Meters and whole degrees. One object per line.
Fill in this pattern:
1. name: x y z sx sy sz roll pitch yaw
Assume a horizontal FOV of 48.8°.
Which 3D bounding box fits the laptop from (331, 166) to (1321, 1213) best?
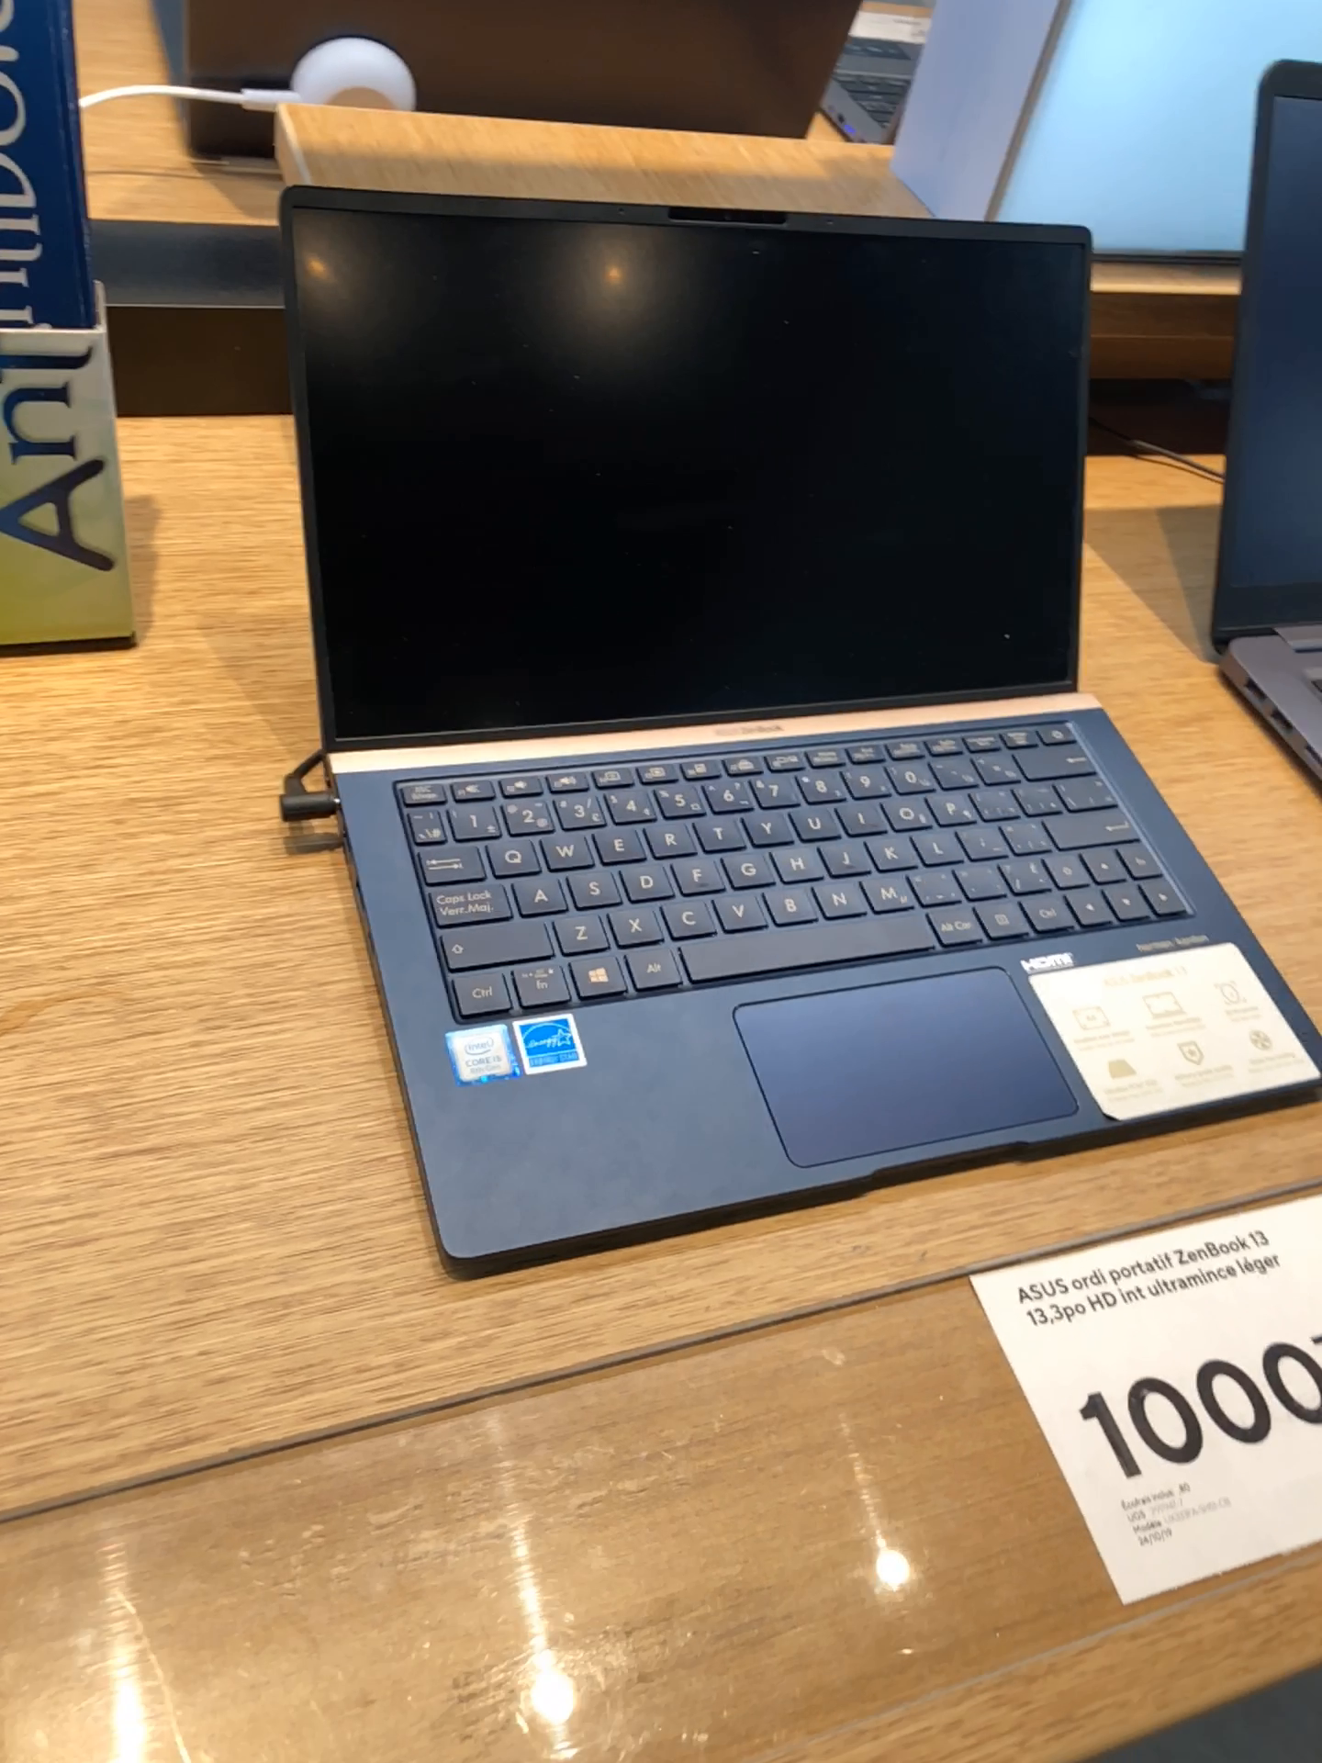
1. laptop: 0.055 -0.084 0.455 0.276 0.130 0.277 -7 53 -18
